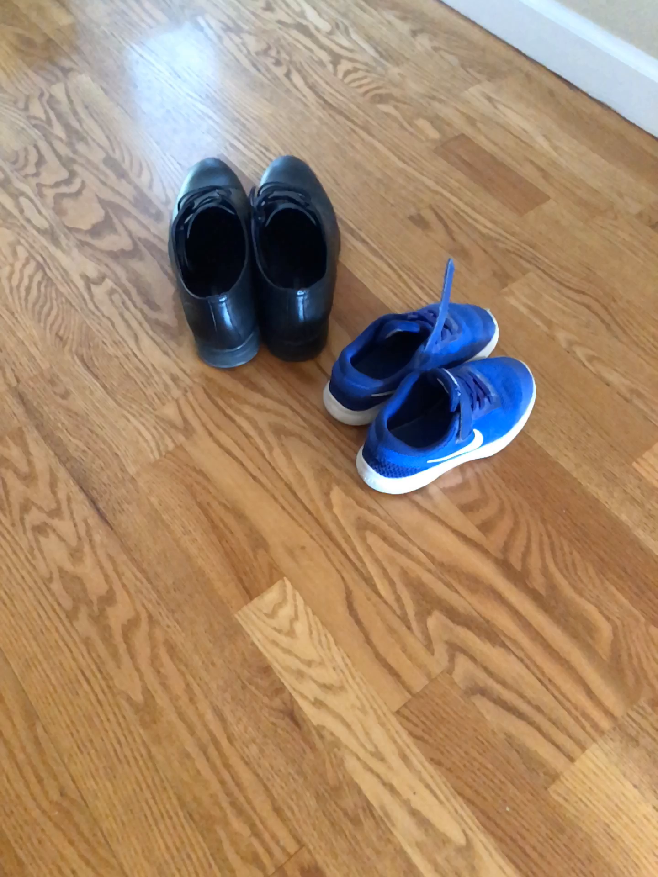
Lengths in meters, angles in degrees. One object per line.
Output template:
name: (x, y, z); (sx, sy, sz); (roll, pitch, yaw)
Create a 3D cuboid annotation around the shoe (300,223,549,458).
shoe: (0.095, -0.104, 0.760); (0.230, 0.130, 0.100); (-30, 63, -18)

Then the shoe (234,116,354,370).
shoe: (-0.046, -0.239, 0.850); (0.120, 0.090, 0.321); (-3, 58, -2)

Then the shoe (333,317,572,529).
shoe: (0.123, -0.019, 0.733); (0.220, 0.070, 0.100); (-32, 63, -19)

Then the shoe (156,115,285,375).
shoe: (-0.130, -0.235, 0.842); (0.120, 0.090, 0.321); (-7, 58, -5)
